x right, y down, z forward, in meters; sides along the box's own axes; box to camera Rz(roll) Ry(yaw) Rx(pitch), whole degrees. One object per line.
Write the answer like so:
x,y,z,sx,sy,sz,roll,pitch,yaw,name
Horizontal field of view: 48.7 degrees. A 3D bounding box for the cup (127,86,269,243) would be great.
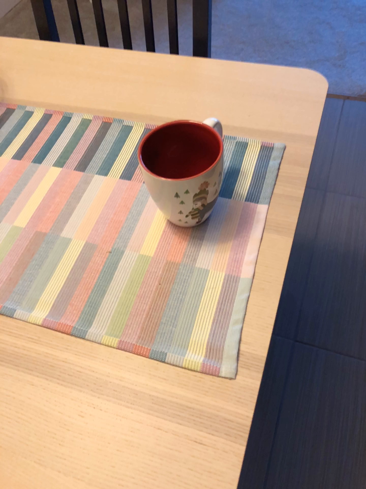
0.023,-0.097,0.480,0.100,0.090,0.140,23,61,21,cup
